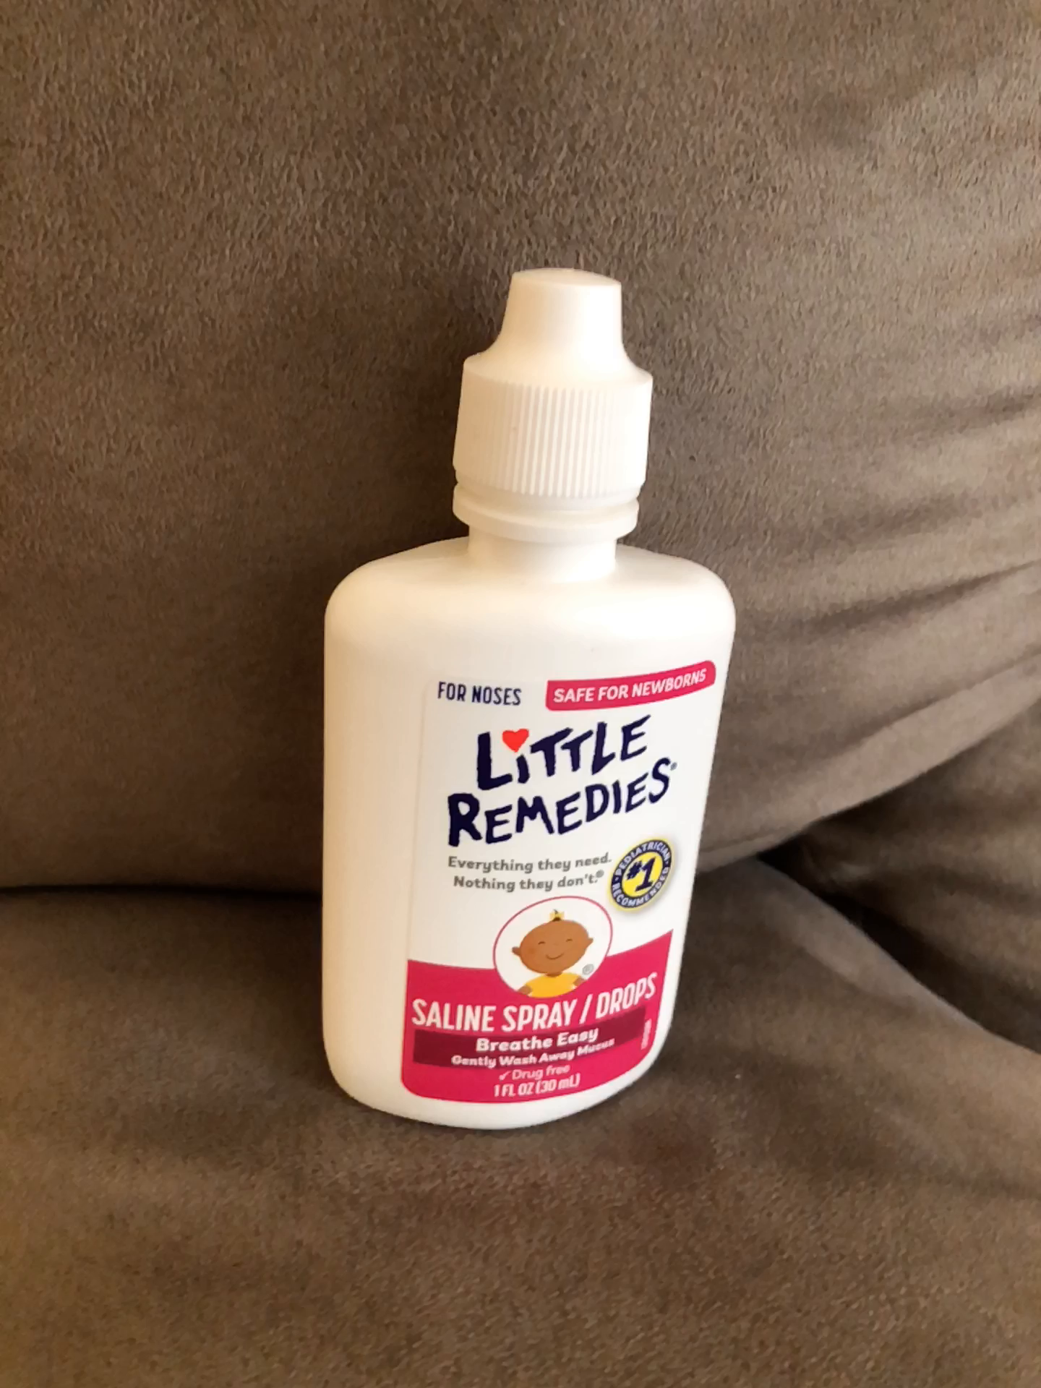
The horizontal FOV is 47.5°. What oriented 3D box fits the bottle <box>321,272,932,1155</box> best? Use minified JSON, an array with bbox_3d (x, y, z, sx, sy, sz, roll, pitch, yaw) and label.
[{"bbox_3d":[0.006,0.007,0.152,0.060,0.110,0.030,-1,29,-9],"label":"bottle"}]
